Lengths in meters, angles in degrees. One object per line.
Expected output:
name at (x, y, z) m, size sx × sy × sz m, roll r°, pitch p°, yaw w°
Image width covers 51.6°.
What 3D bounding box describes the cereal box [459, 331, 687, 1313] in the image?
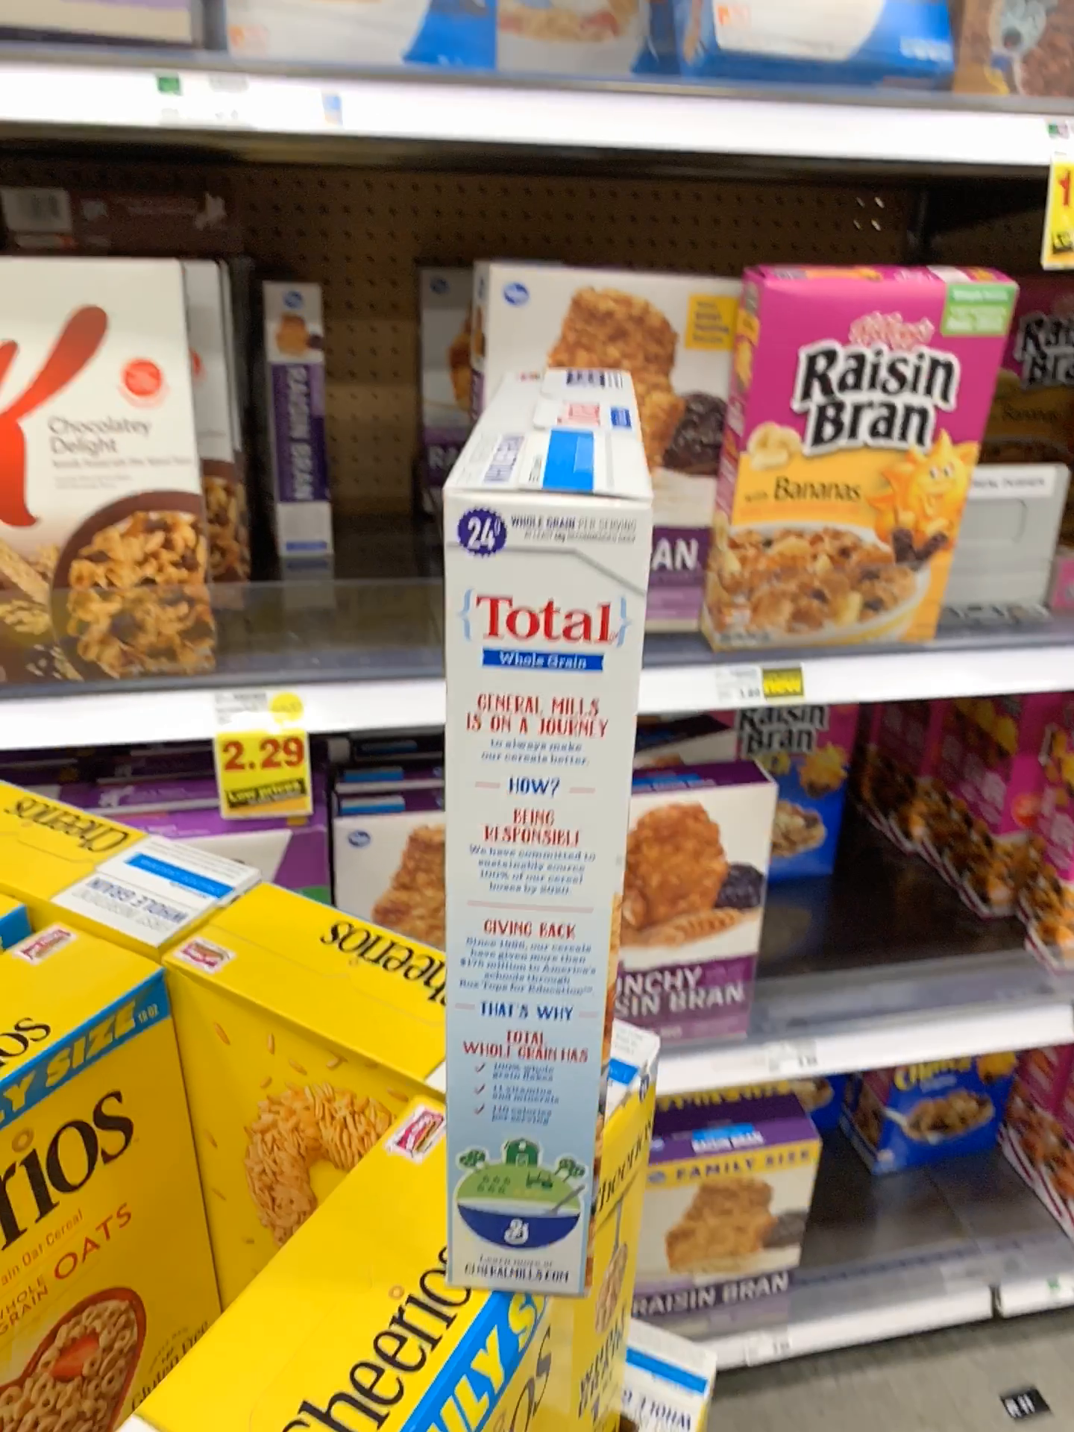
cereal box at (0.010, 0.026, 0.419) m, size 0.050 × 0.299 × 0.211 m, roll 4°, pitch 26°, yaw 2°
